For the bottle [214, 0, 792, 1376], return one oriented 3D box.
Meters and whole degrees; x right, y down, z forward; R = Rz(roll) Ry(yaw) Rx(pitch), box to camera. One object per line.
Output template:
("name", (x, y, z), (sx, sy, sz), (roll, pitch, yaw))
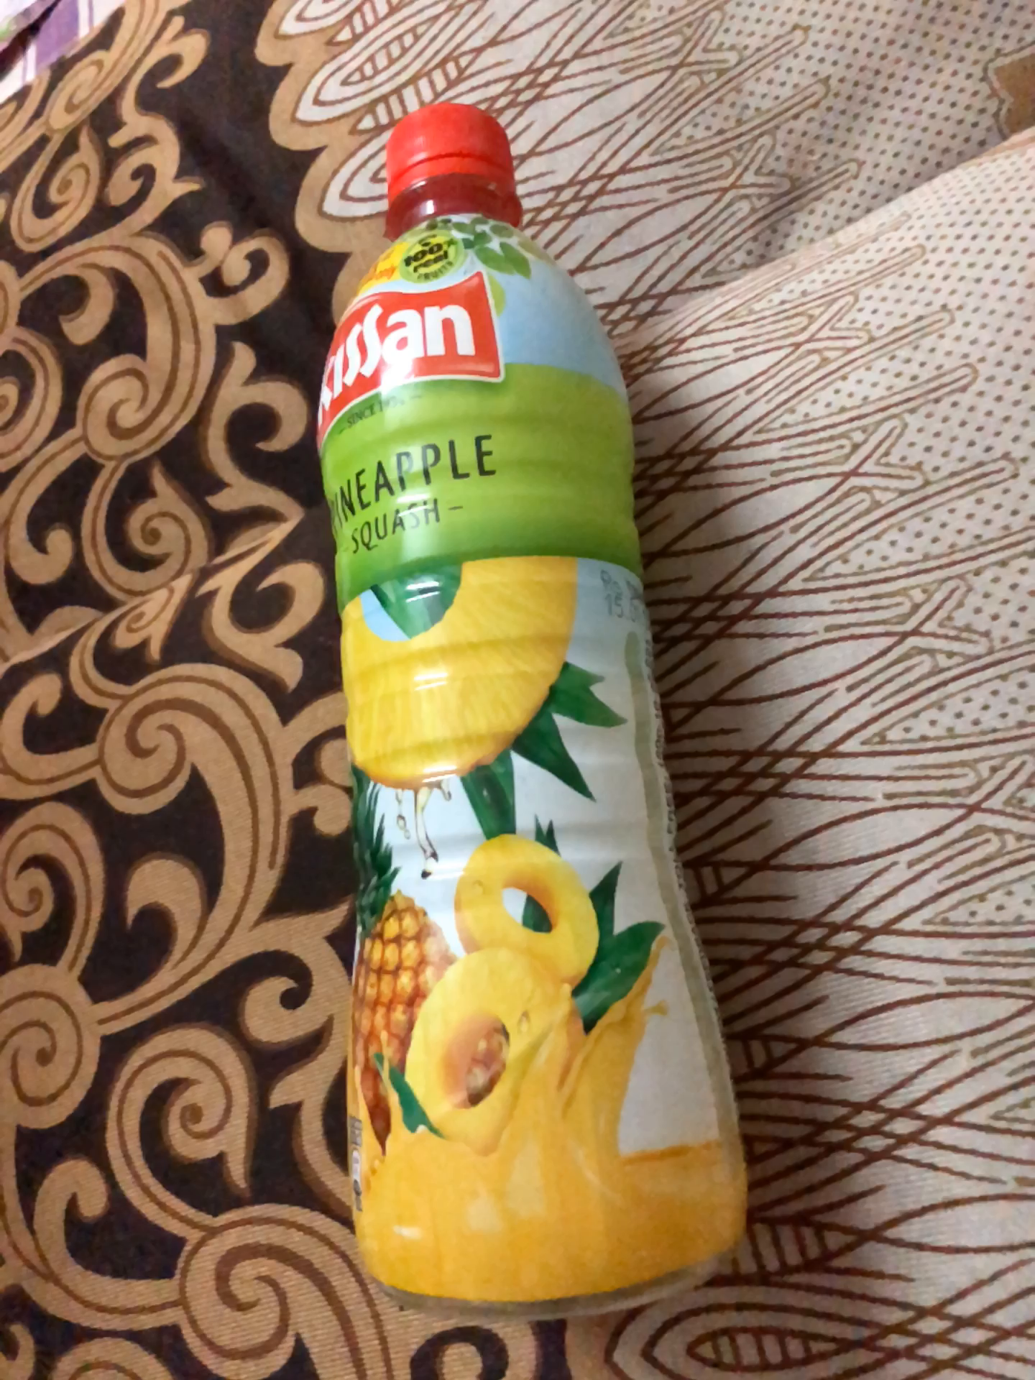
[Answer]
("bottle", (-0.007, -0.014, 0.223), (0.070, 0.060, 0.240), (-12, 76, 27))
